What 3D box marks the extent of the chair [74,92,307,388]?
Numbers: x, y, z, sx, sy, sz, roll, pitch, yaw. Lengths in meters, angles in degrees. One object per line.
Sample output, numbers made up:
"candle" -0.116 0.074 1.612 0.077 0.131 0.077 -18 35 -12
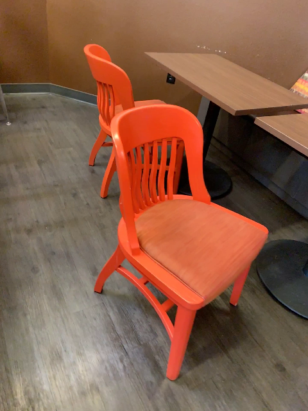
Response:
"chair" 0.104 0.099 1.222 0.581 0.806 0.562 34 43 26
